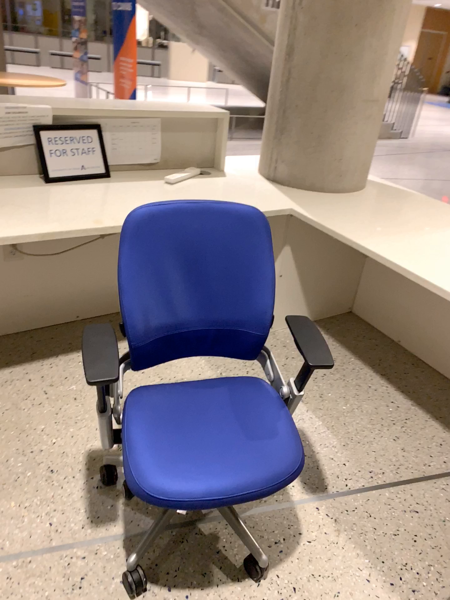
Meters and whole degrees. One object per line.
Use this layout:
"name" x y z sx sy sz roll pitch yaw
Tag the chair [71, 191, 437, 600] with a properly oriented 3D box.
"chair" -0.031 0.239 1.304 0.697 0.907 0.609 -2 30 -15
